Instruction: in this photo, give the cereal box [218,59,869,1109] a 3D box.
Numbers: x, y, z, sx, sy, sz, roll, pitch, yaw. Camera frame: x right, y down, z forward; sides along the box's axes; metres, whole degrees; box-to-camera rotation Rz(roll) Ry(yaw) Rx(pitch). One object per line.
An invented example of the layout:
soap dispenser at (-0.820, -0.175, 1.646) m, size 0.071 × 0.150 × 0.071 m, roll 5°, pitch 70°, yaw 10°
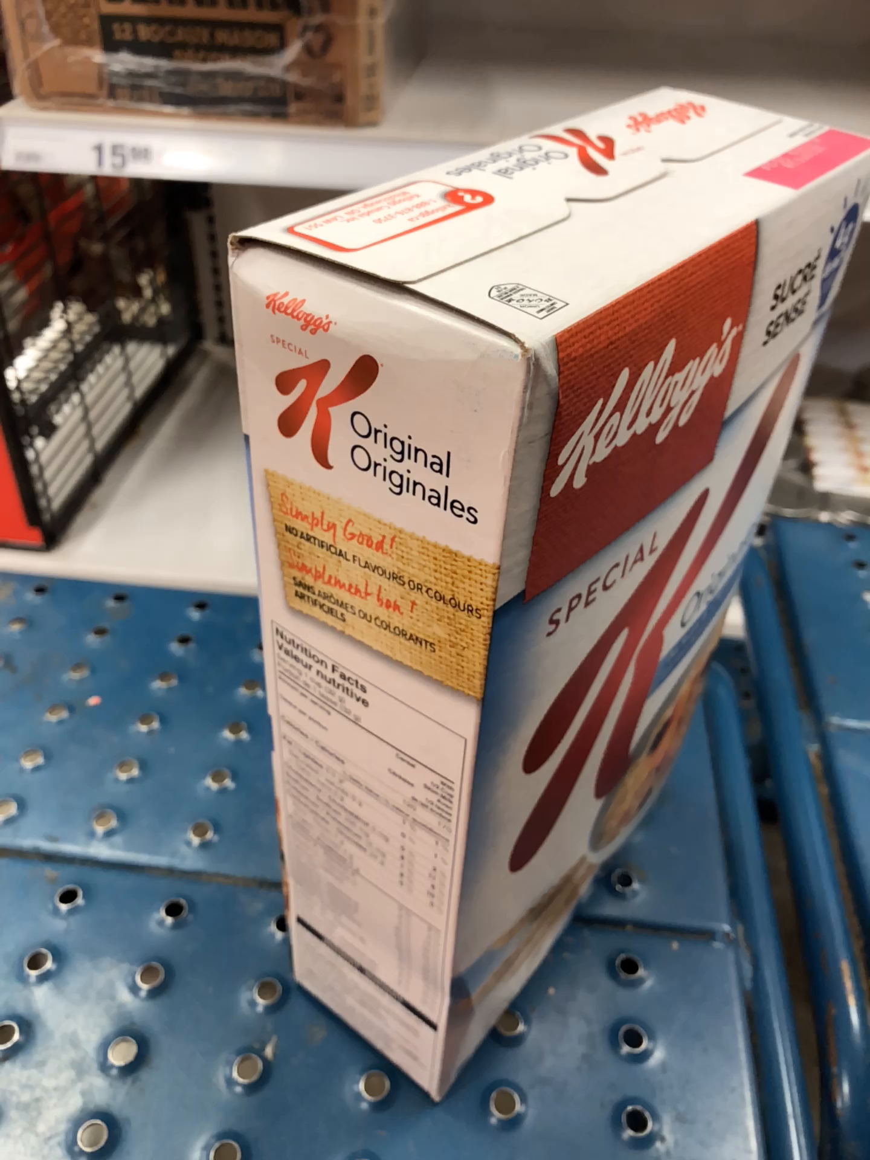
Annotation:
cereal box at (0.044, 0.004, 0.342) m, size 0.080 × 0.299 × 0.211 m, roll 26°, pitch 43°, yaw 27°
